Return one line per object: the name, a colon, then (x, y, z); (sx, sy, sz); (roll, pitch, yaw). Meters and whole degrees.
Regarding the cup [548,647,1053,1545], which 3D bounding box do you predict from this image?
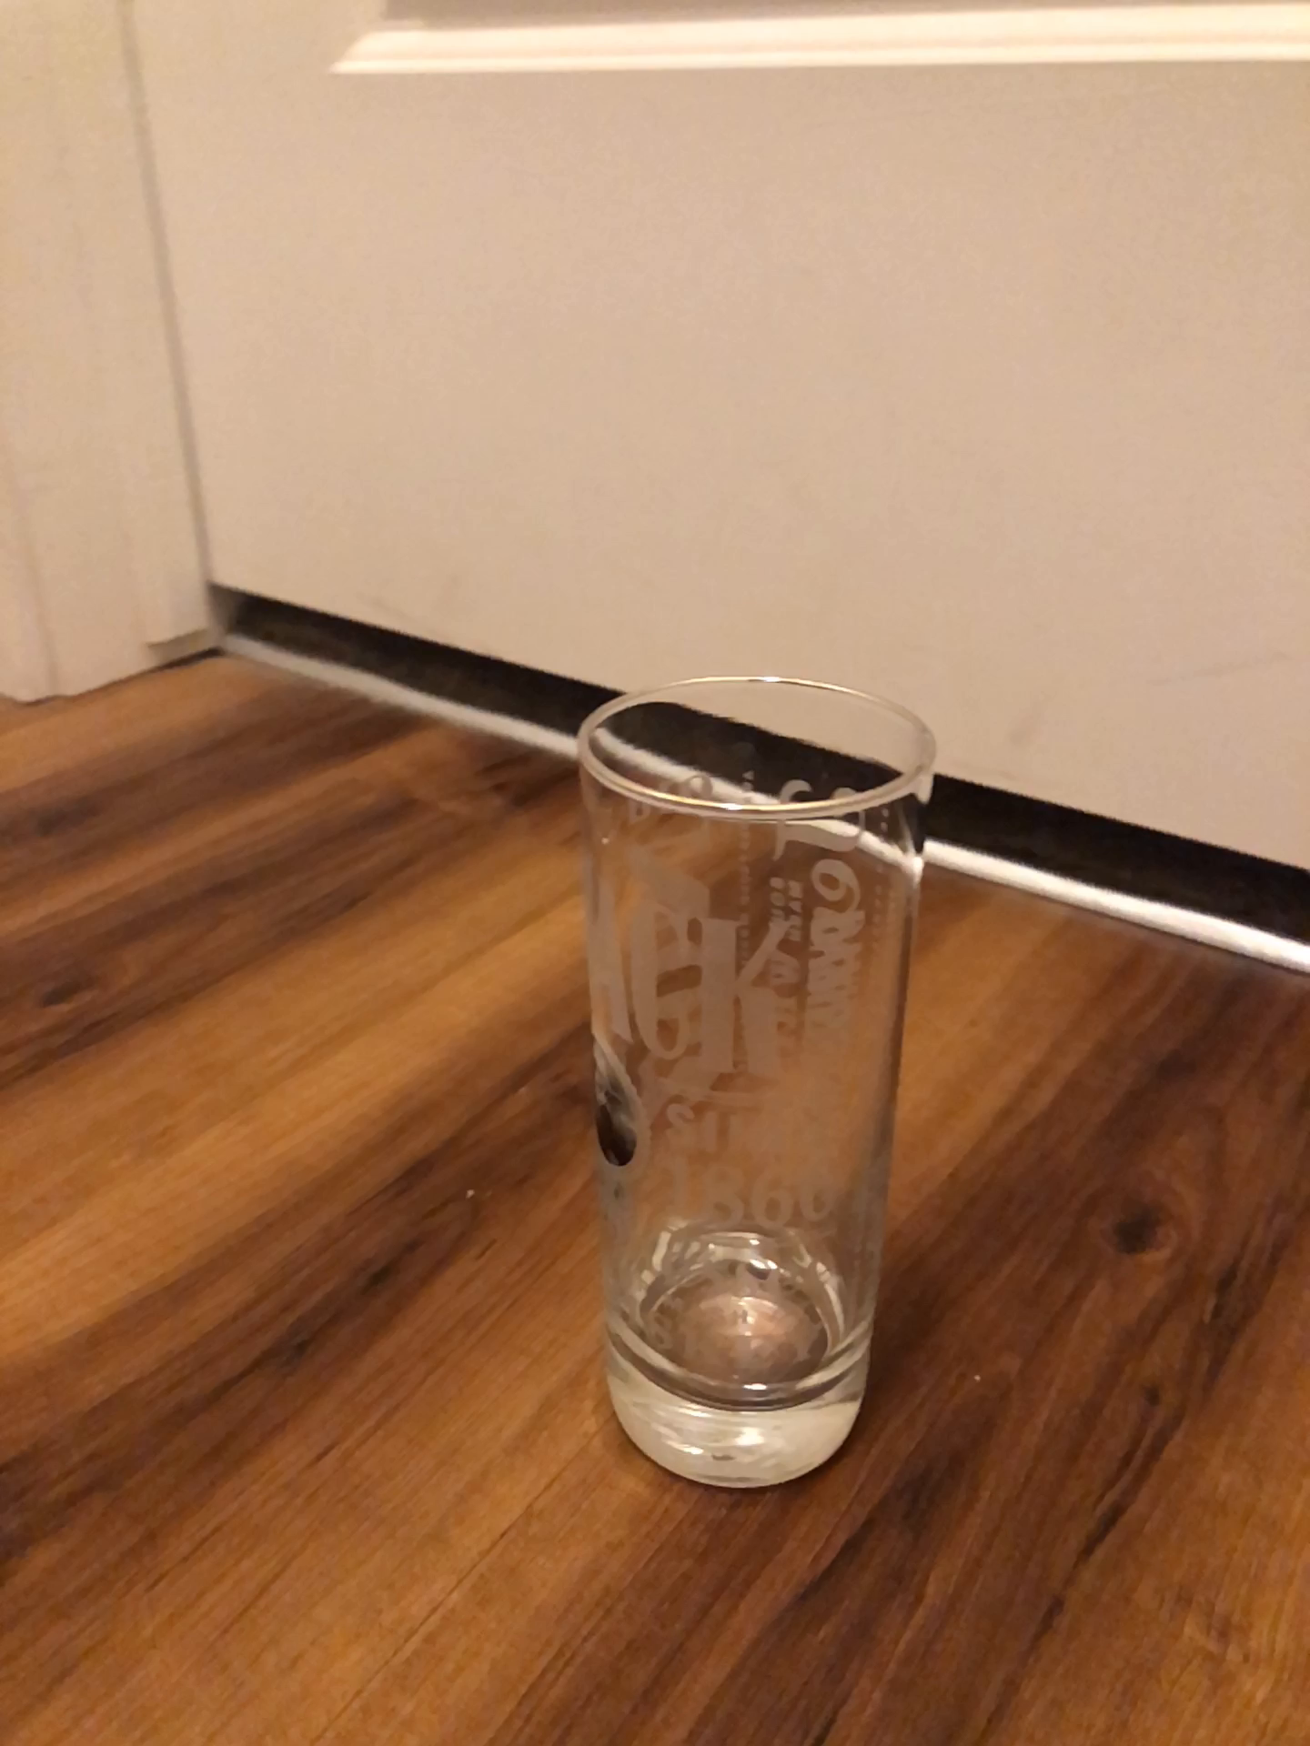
cup: (0.020, 0.042, 0.277); (0.068, 0.150, 0.067); (0, 27, 0)
